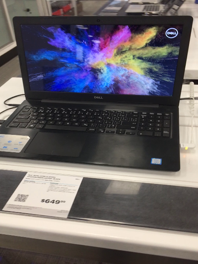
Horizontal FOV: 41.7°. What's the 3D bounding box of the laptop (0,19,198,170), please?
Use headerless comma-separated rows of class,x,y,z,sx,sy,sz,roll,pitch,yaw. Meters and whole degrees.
laptop,-0.027,-0.102,0.580,0.424,0.224,0.290,5,40,8
